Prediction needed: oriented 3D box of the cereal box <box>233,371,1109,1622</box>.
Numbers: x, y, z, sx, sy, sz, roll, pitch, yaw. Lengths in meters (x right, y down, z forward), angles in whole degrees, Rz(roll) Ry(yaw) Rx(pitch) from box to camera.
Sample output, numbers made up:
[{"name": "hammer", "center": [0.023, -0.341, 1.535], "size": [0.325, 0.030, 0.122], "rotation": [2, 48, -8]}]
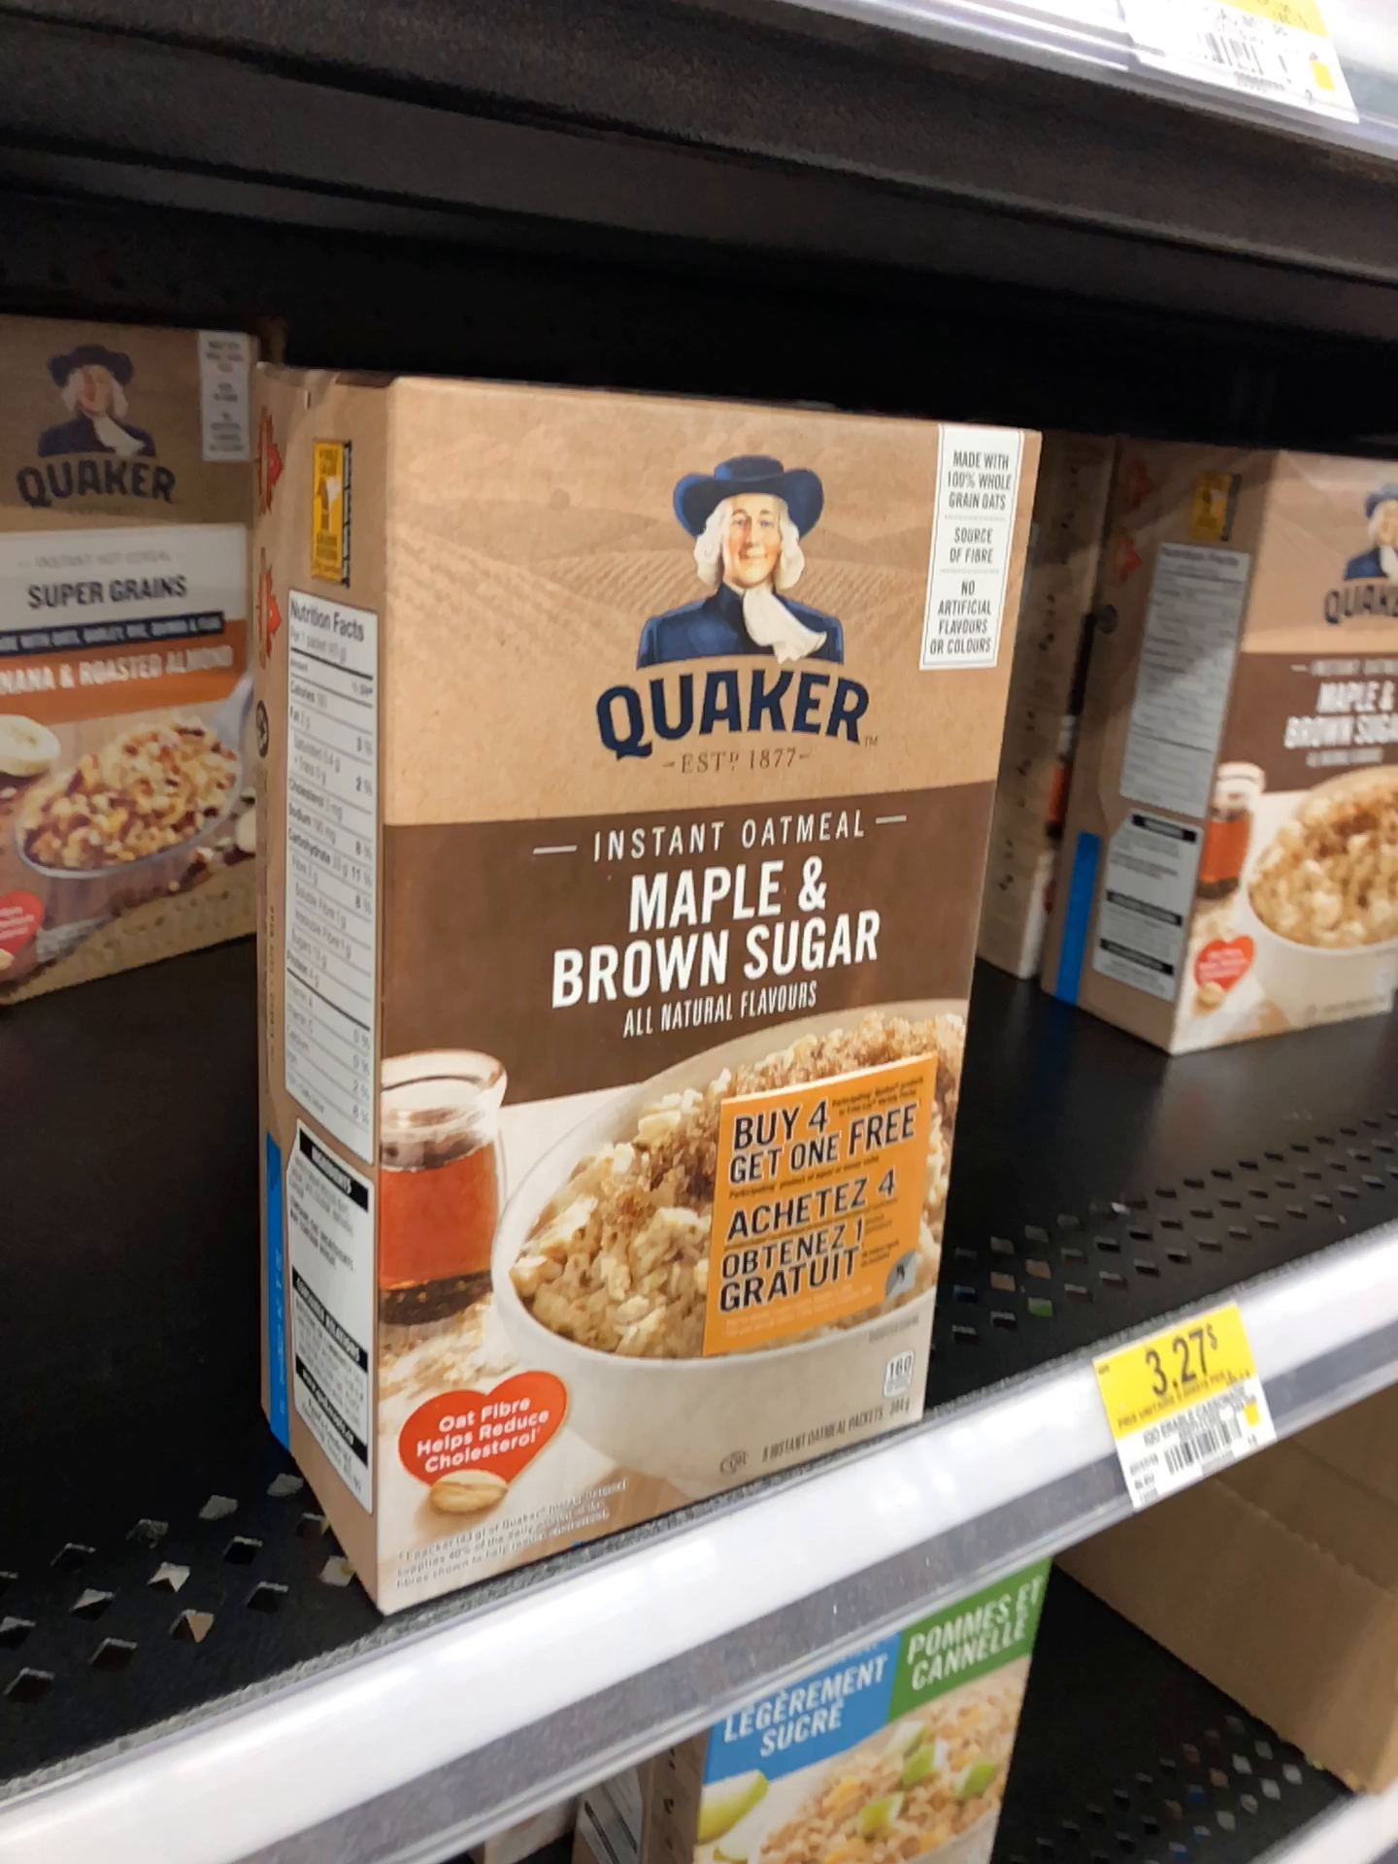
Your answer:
[{"name": "cereal box", "center": [-0.008, 0.005, 0.280], "size": [0.130, 0.189, 0.060], "rotation": [-7, 21, -32]}]

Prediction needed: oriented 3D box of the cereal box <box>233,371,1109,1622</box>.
[{"name": "cereal box", "center": [-0.008, 0.005, 0.280], "size": [0.130, 0.189, 0.060], "rotation": [-7, 21, -32]}]
